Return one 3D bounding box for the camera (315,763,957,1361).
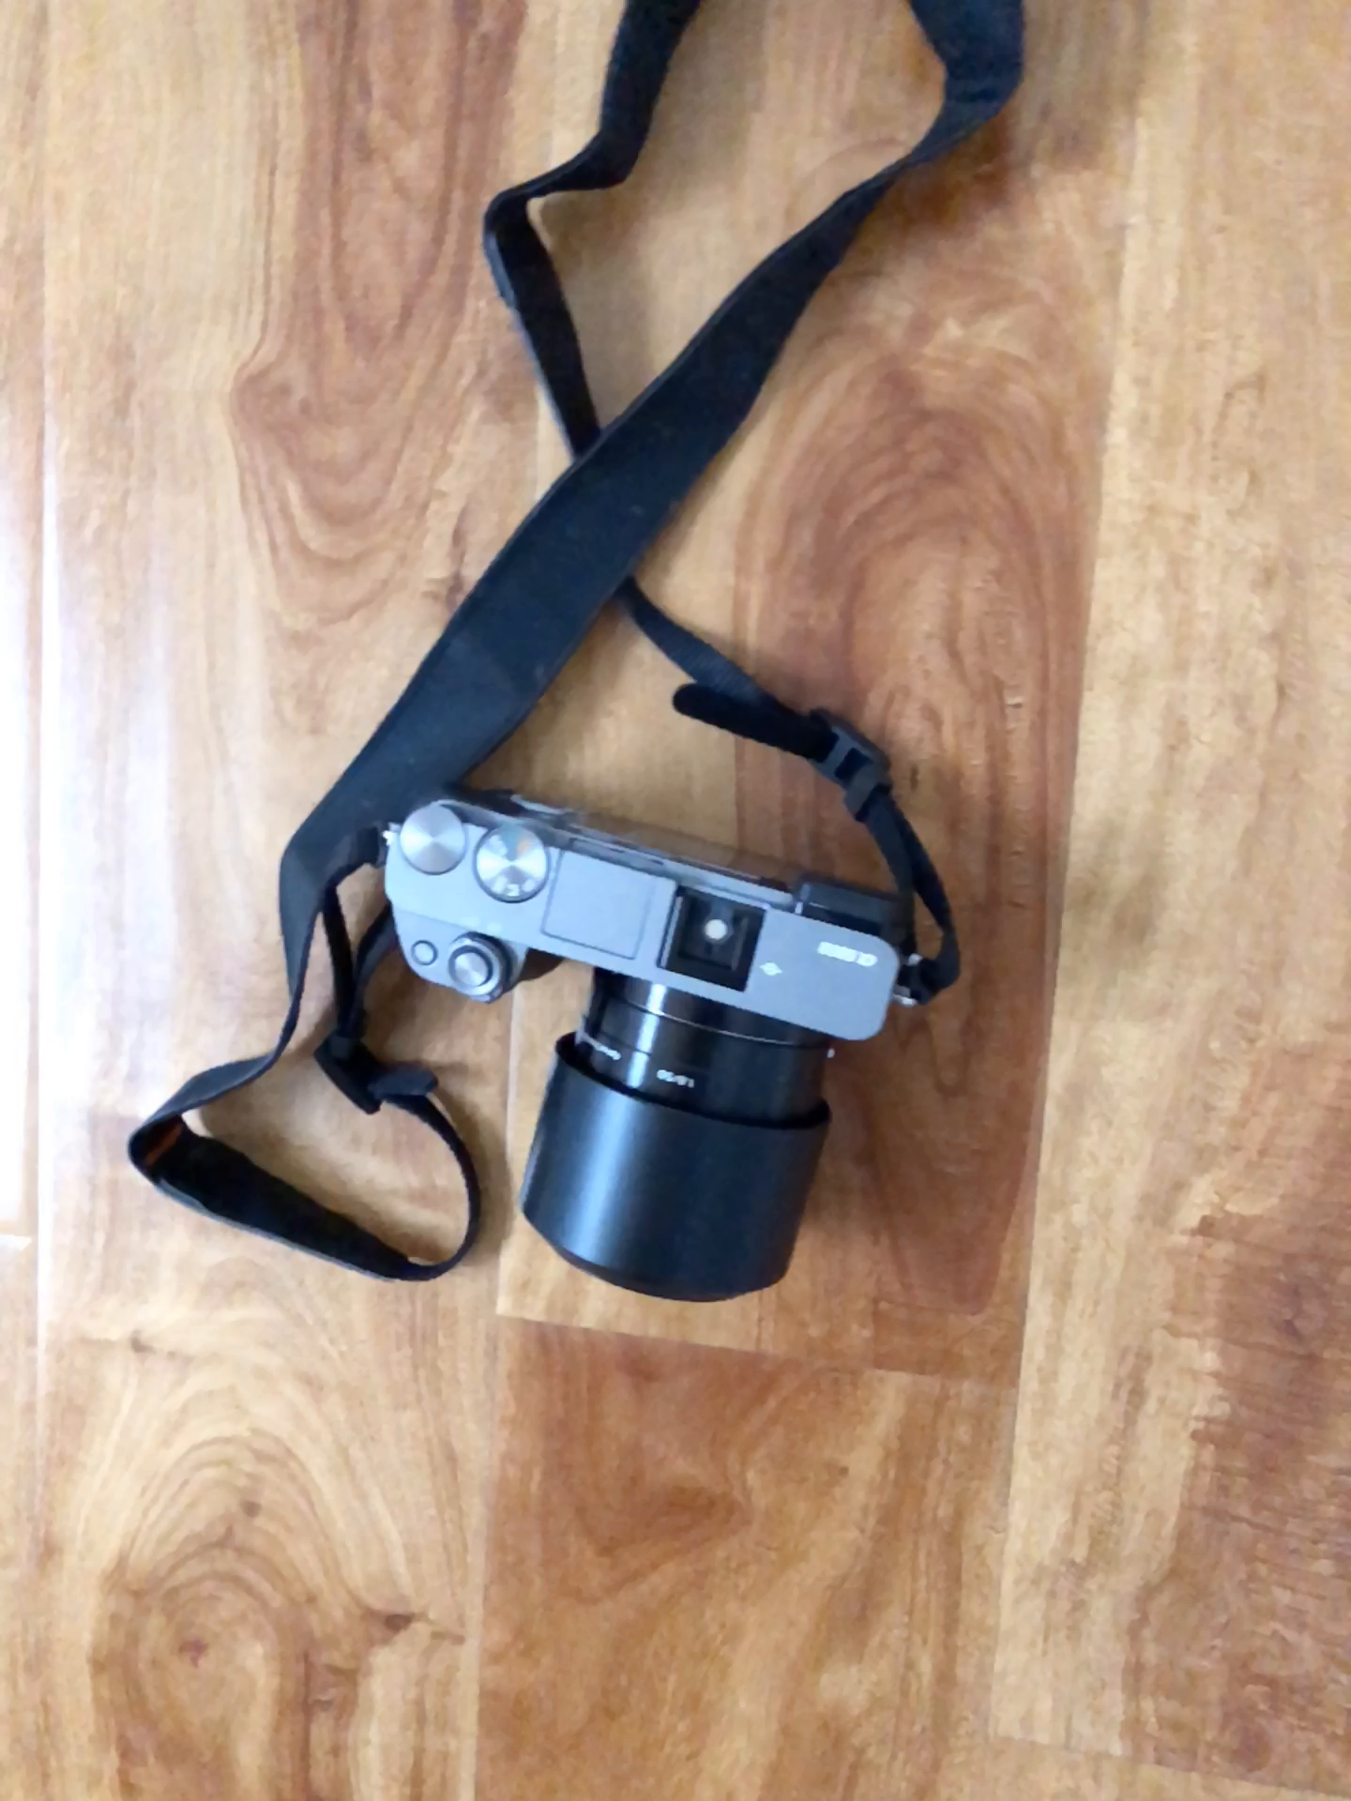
[{"bbox_3d":[-0.007,0.034,0.380,0.130,0.070,0.110,14,98,10],"label":"camera"}]
